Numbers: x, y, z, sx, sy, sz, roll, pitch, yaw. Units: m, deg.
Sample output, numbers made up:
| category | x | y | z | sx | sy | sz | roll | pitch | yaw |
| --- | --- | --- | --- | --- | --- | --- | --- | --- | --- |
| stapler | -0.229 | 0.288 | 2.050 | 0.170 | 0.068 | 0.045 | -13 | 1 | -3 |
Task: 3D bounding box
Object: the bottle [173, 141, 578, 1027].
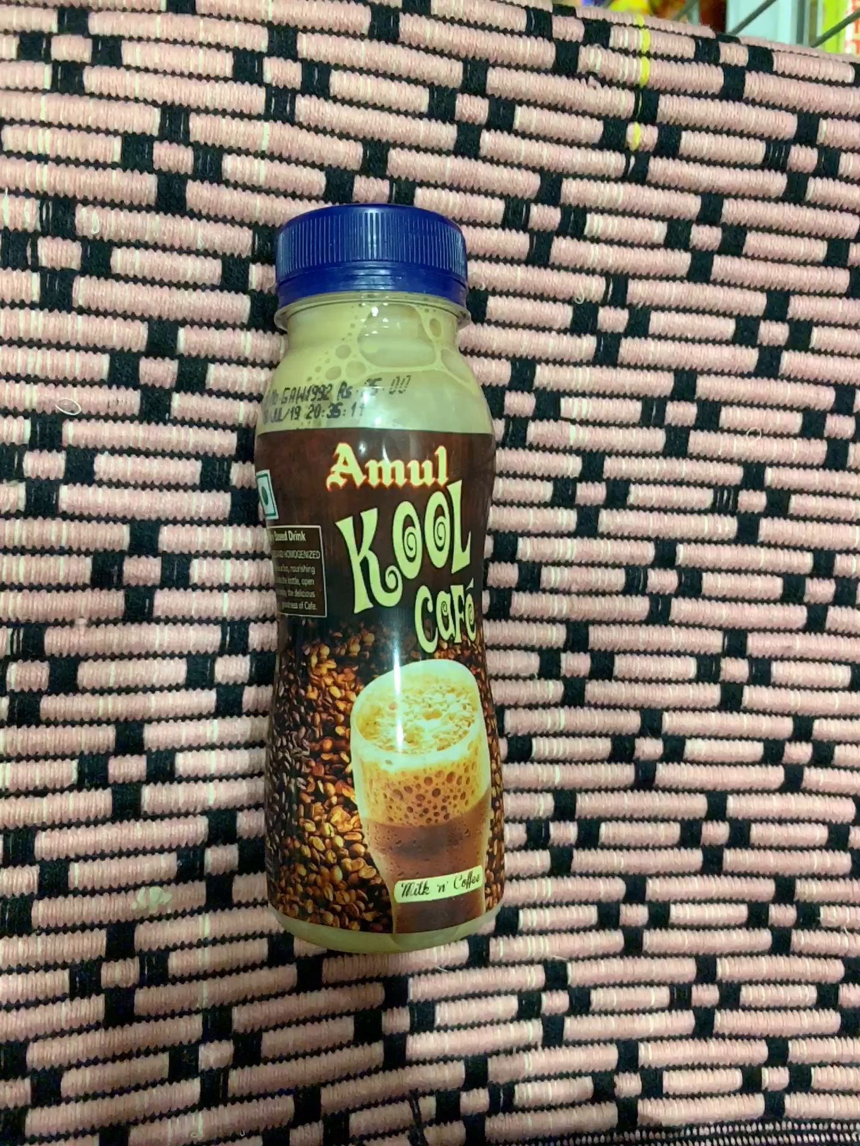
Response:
| category | x | y | z | sx | sy | sz | roll | pitch | yaw |
| --- | --- | --- | --- | --- | --- | --- | --- | --- | --- |
| bottle | -0.014 | 0.001 | 0.175 | 0.060 | 0.050 | 0.140 | -3 | 89 | -20 |
